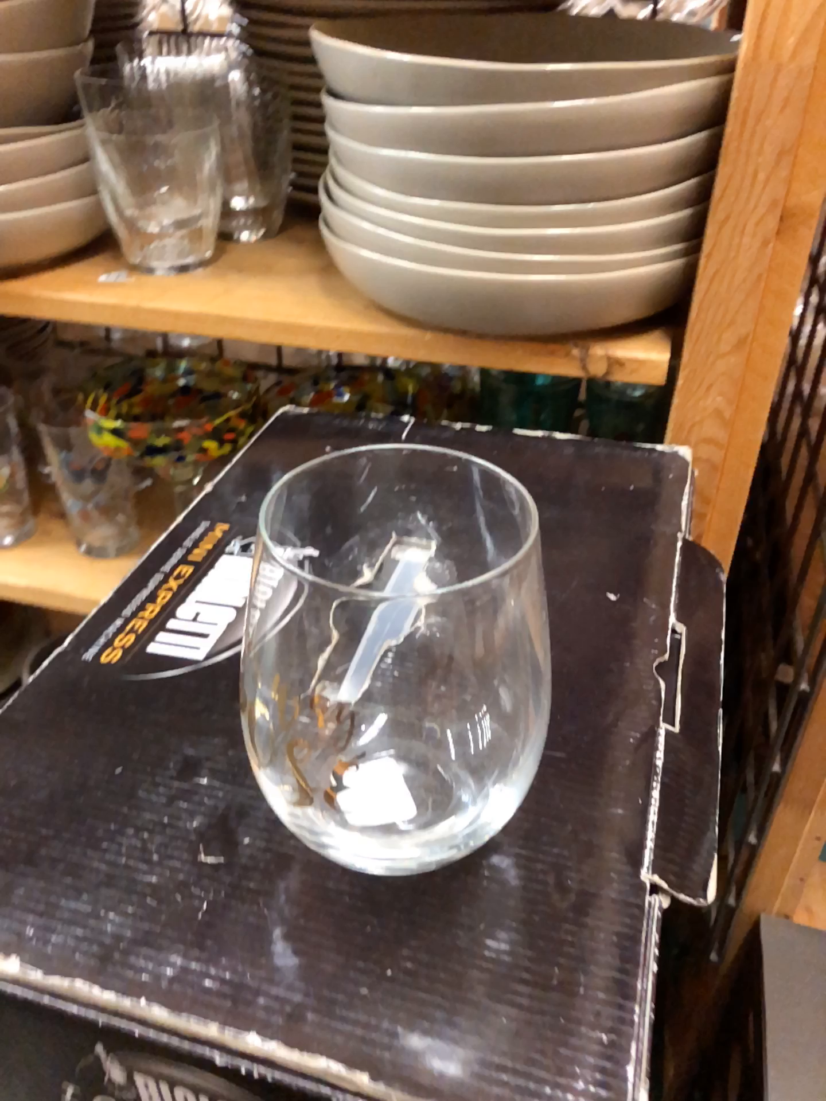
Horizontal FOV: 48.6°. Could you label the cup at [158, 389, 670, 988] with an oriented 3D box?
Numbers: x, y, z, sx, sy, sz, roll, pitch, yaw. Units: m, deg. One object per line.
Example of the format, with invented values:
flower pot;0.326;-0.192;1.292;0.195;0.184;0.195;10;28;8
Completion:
cup;0.001;0.033;0.267;0.096;0.114;0.090;0;35;0
